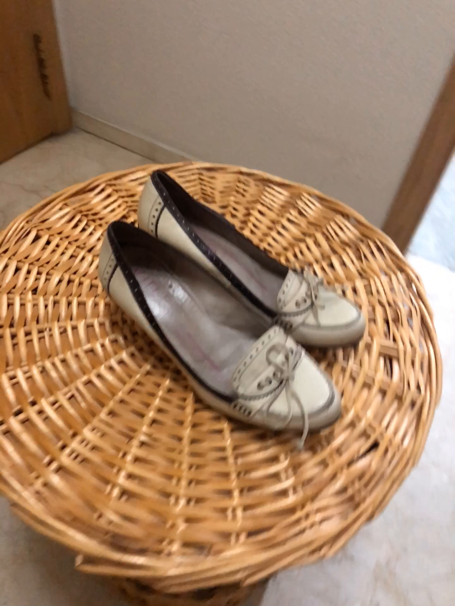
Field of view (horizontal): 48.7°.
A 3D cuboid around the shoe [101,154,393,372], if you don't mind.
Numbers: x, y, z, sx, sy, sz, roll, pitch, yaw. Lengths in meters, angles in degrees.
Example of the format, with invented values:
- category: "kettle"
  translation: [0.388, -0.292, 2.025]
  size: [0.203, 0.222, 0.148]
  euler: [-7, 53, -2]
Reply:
- category: "shoe"
  translation: [0.015, -0.046, 0.512]
  size: [0.260, 0.090, 0.100]
  euler: [24, 55, 15]

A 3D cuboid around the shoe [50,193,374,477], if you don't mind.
- category: "shoe"
  translation: [-0.021, 0.022, 0.458]
  size: [0.260, 0.110, 0.100]
  euler: [31, 56, 20]
